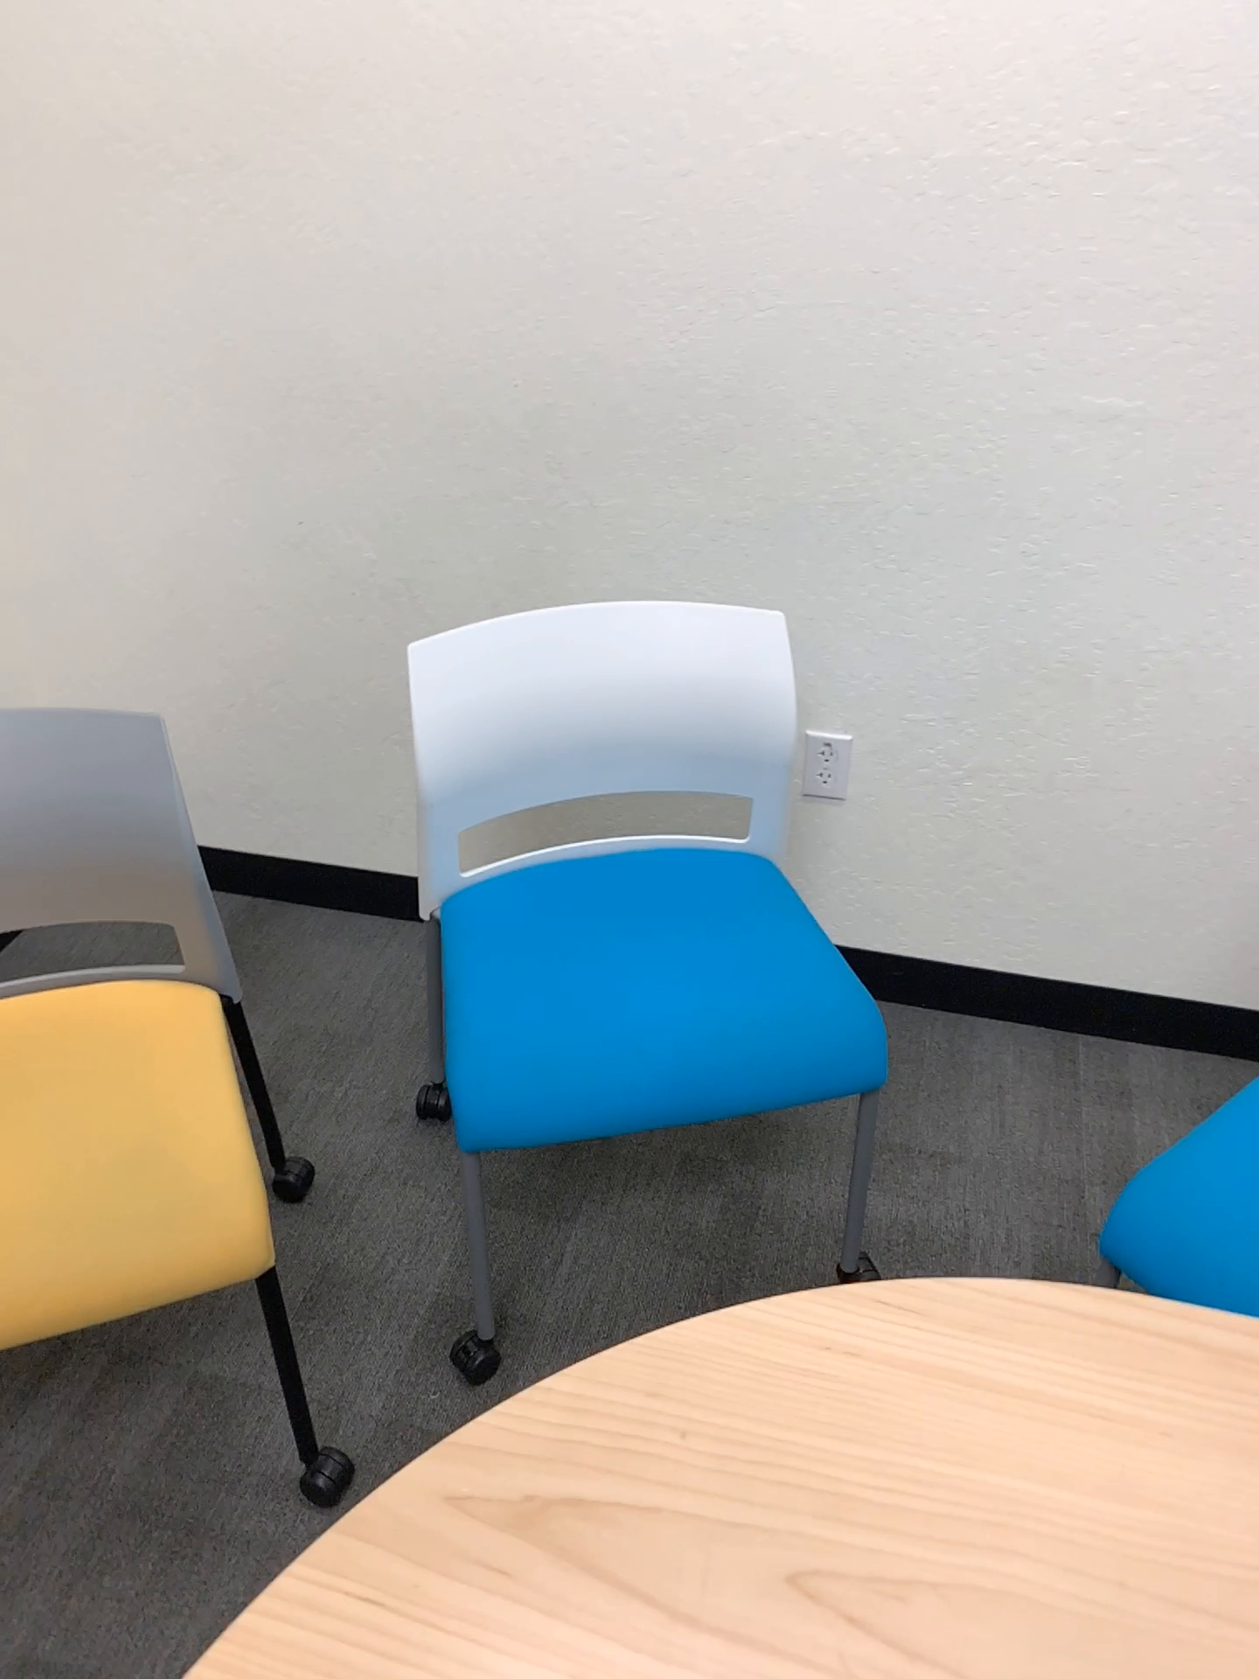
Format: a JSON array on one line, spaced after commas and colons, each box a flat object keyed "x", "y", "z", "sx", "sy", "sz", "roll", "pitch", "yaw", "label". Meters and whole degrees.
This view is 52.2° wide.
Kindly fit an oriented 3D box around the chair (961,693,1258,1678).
[{"x": 0.897, "y": 0.430, "z": 1.269, "sx": 0.692, "sy": 0.765, "sz": 0.753, "roll": -27, "pitch": 41, "yaw": -35, "label": "chair"}]

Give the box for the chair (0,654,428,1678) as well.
[{"x": -0.631, "y": 0.314, "z": 1.377, "sx": 0.640, "sy": 0.715, "sz": 0.694, "roll": -11, "pitch": 34, "yaw": -15, "label": "chair"}]

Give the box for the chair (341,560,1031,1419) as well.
[{"x": 0.002, "y": 0.149, "z": 1.653, "sx": 0.640, "sy": 0.755, "sz": 0.694, "roll": -6, "pitch": 33, "yaw": -9, "label": "chair"}]
